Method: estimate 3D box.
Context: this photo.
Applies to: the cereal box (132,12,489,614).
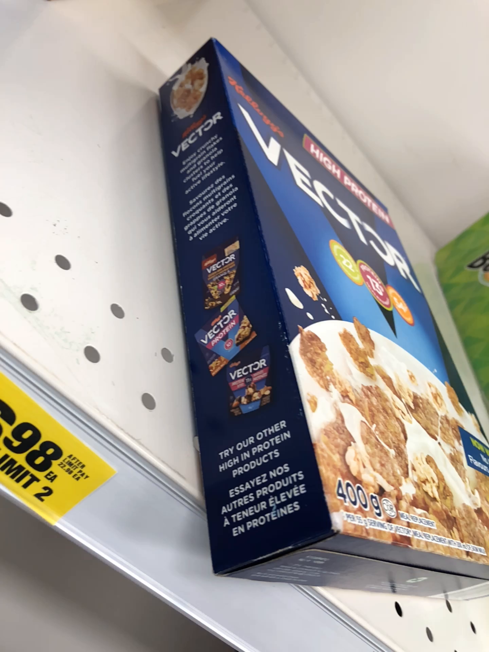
[{"bbox_3d":[0.045,-0.011,0.299,0.211,0.050,0.290,29,36,-42],"label":"cereal box"}]
